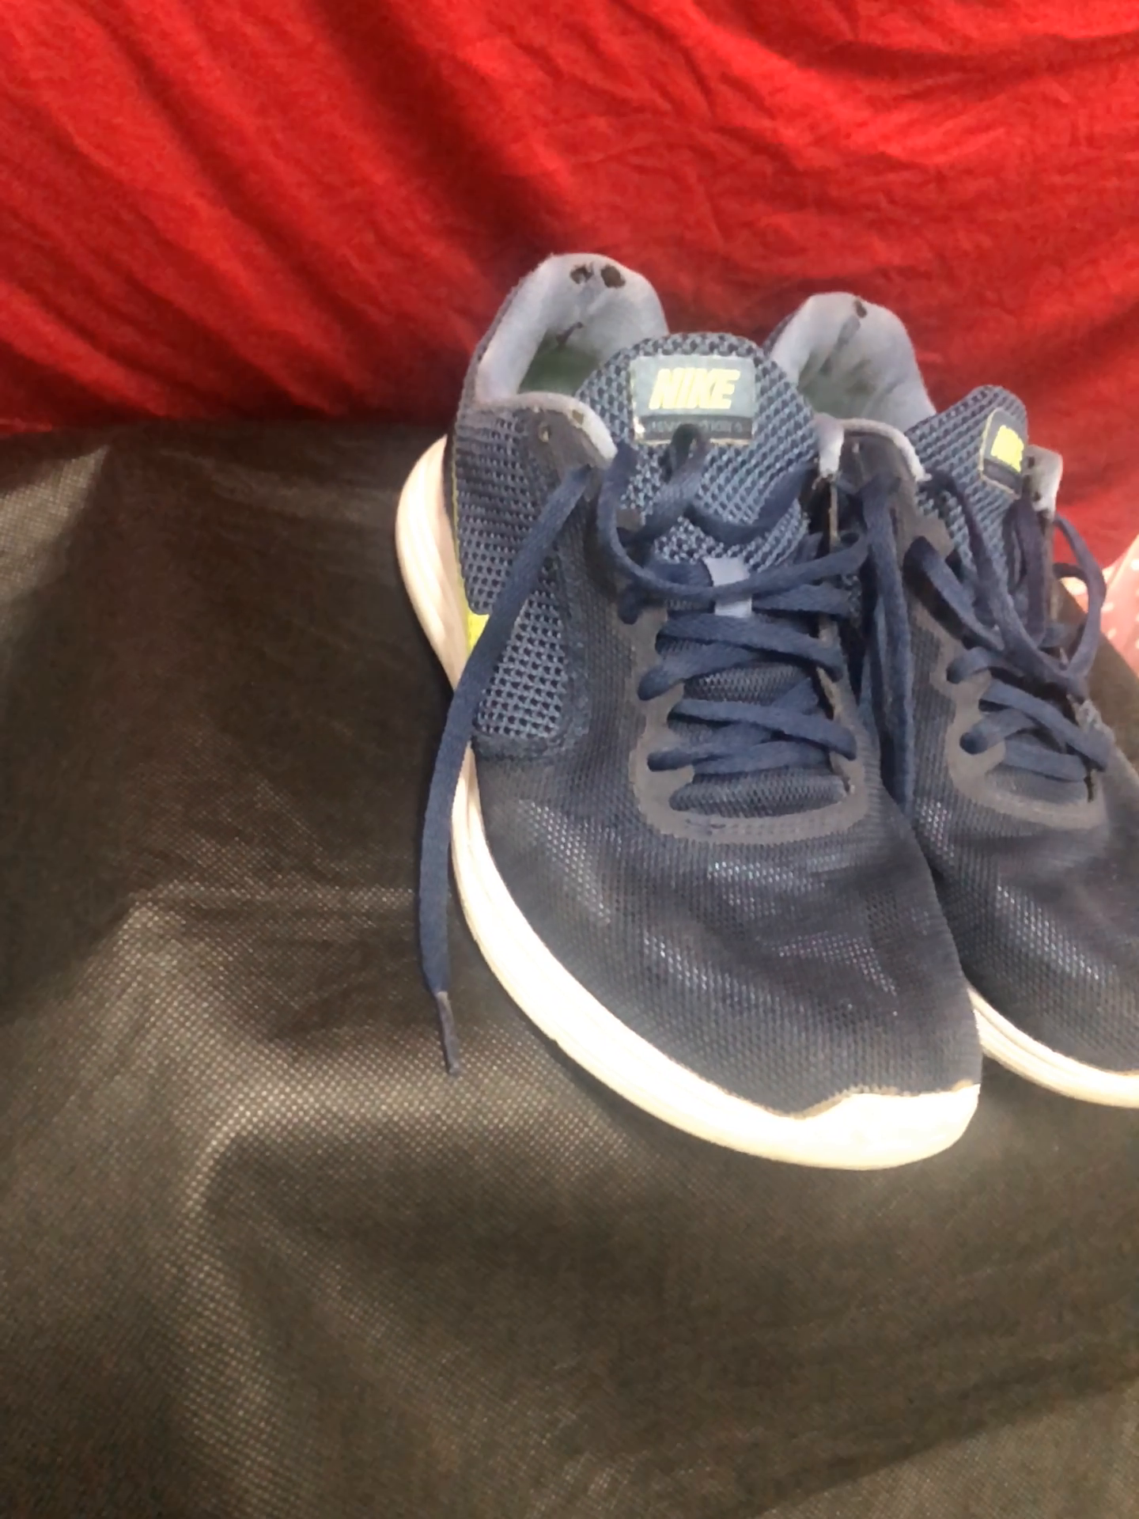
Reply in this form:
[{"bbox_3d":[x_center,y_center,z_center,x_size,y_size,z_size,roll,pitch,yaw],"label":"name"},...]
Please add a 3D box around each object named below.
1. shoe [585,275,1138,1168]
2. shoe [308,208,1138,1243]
[{"bbox_3d":[0.105,-0.030,0.370,0.110,0.089,0.262,0,46,-23],"label":"shoe"},{"bbox_3d":[0.016,-0.025,0.306,0.110,0.099,0.232,0,46,-23],"label":"shoe"}]
